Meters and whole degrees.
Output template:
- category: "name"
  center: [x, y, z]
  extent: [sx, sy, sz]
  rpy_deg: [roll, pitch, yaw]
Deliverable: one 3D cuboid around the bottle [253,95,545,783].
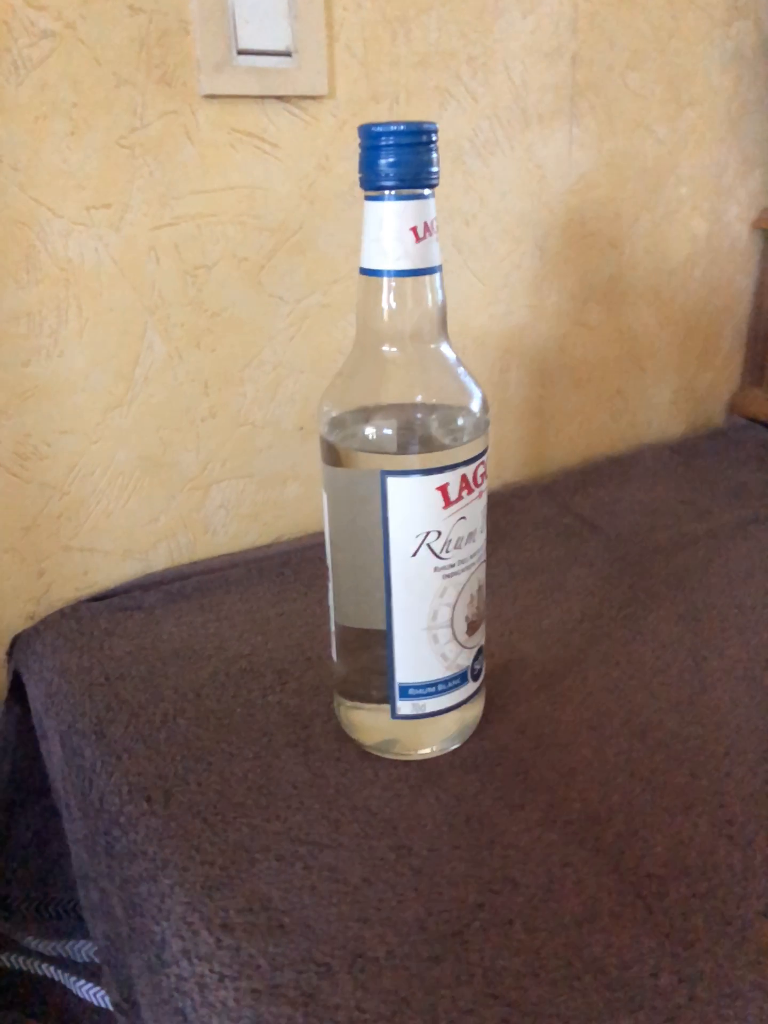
- category: "bottle"
  center: [0.012, -0.027, 0.365]
  extent: [0.080, 0.269, 0.081]
  rpy_deg: [-1, 23, 1]
